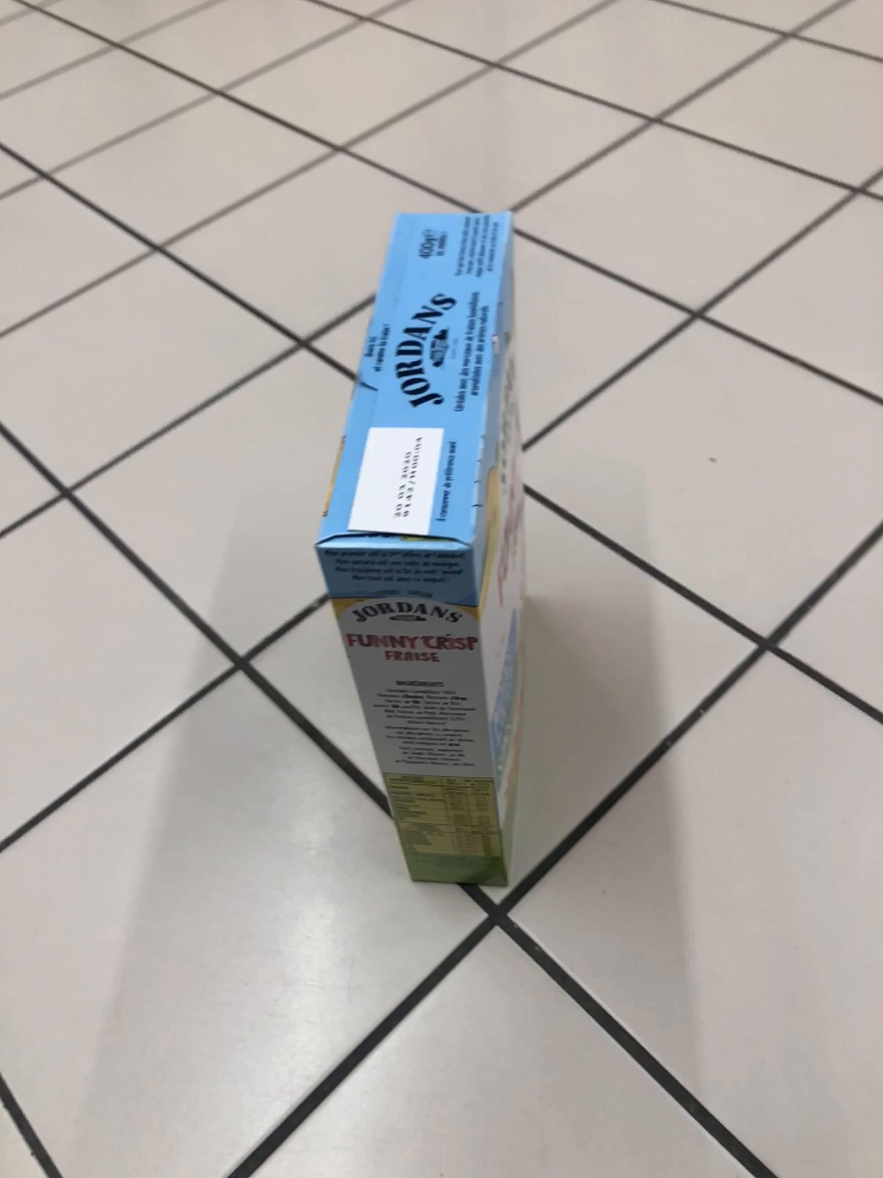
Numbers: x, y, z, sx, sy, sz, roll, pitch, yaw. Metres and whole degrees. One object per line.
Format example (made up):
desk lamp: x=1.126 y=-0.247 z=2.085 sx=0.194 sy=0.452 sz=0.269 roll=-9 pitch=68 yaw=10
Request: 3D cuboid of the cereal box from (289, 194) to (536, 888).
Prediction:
cereal box: x=0.006 y=-0.007 z=0.399 sx=0.050 sy=0.229 sz=0.171 roll=1 pitch=51 yaw=9
